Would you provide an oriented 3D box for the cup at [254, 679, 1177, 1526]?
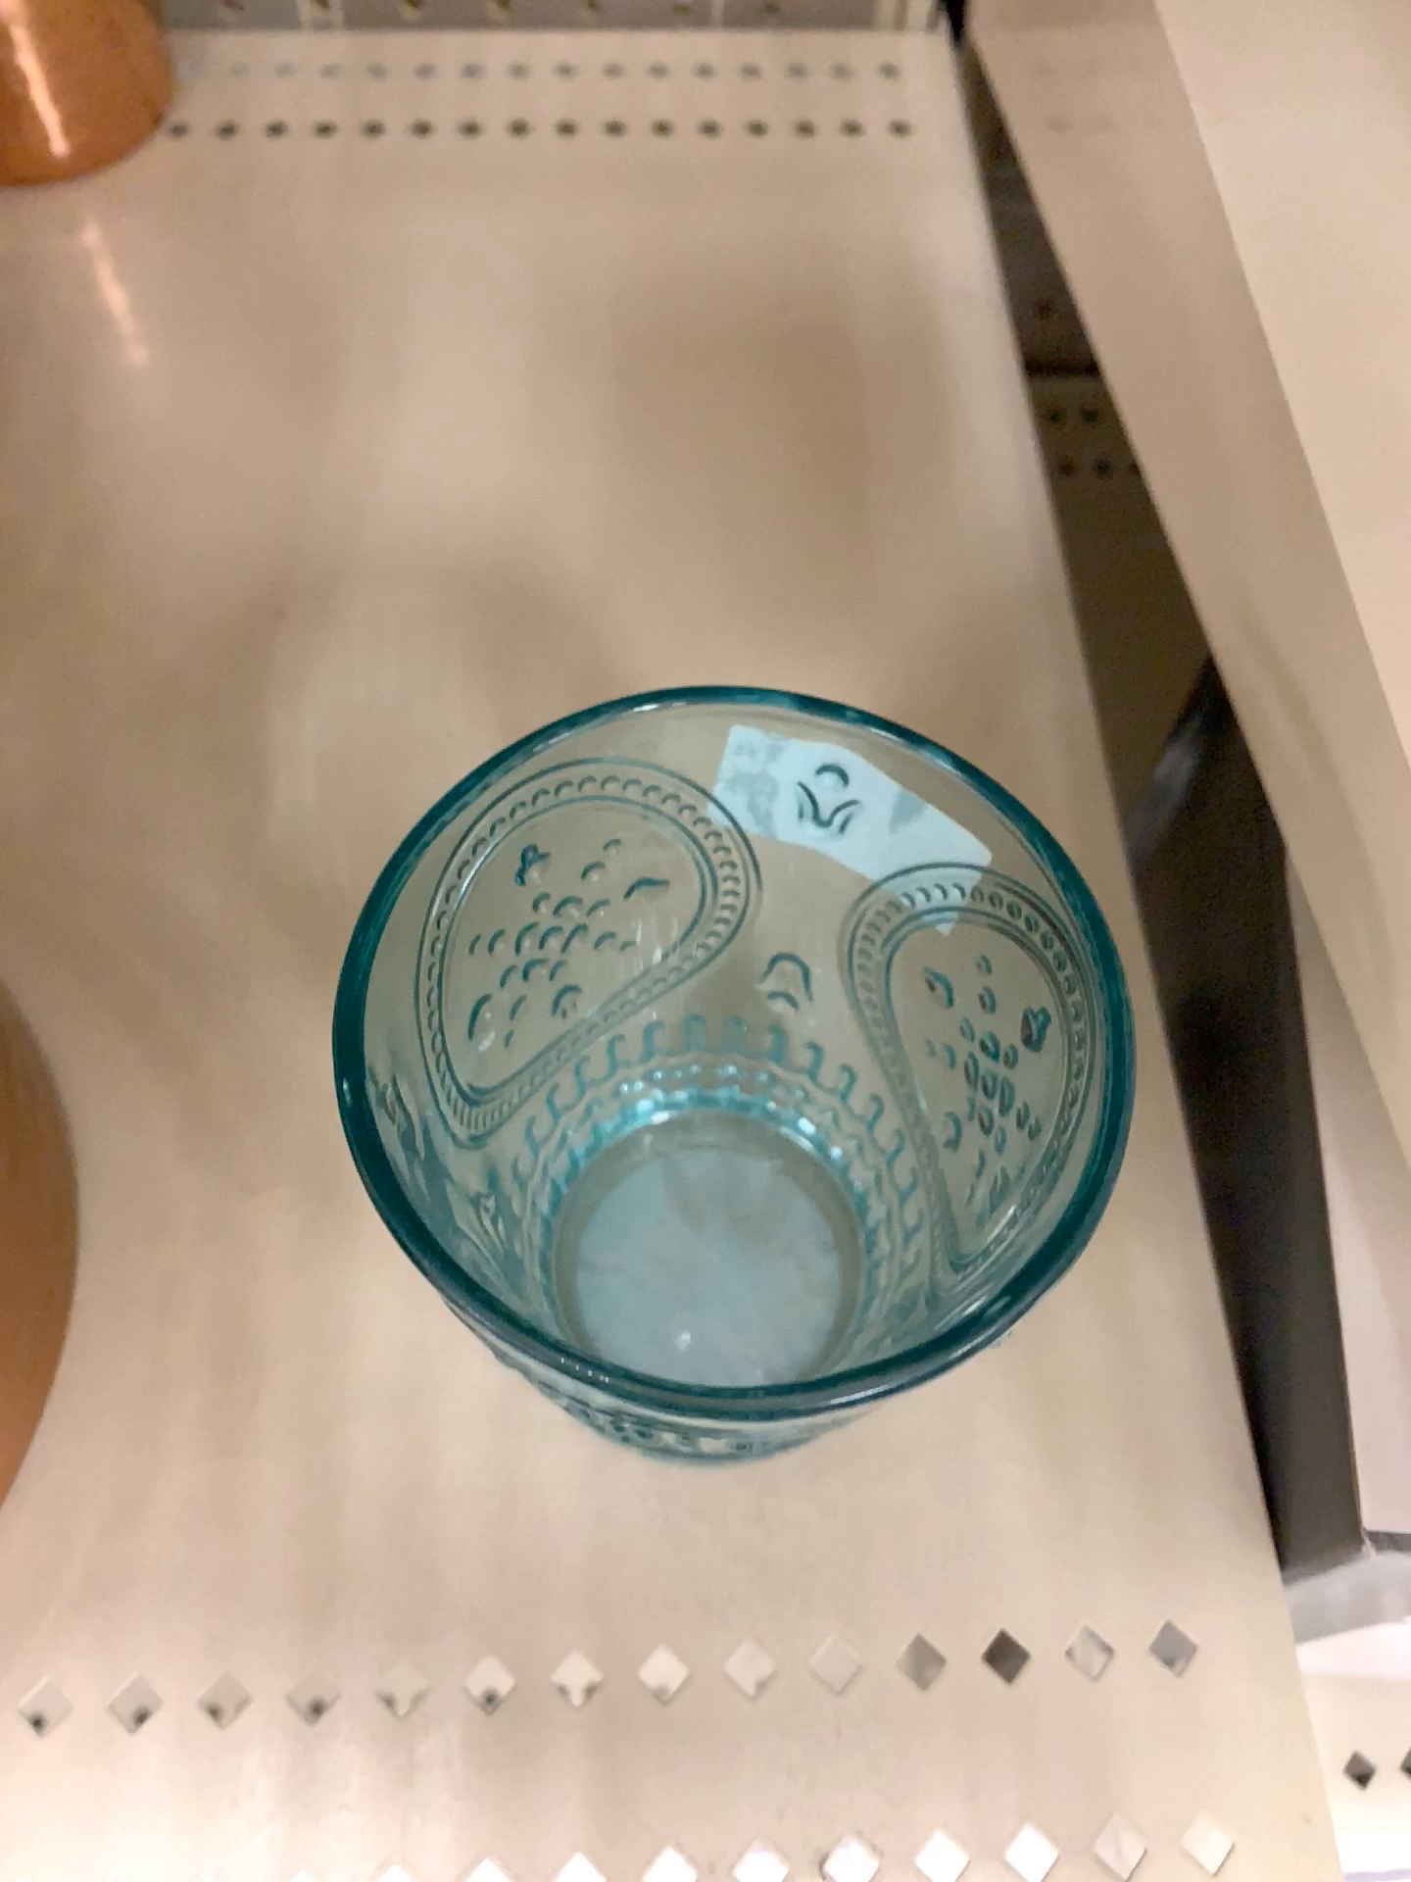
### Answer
[{"bbox_3d":[-0.001,0.026,0.184,0.078,0.091,0.076,1,63,-1],"label":"cup"}]
